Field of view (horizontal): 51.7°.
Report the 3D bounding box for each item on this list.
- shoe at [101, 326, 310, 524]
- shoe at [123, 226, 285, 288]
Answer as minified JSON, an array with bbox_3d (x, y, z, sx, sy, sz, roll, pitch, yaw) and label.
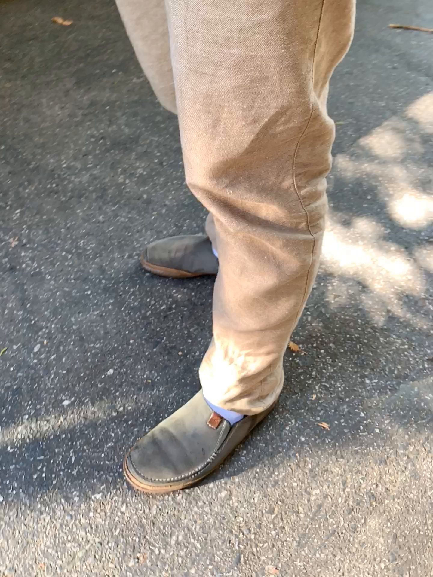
[{"bbox_3d":[-0.009,0.206,0.724,0.320,0.080,0.121,-33,57,-25],"label":"shoe"},{"bbox_3d":[-0.025,-0.067,0.944,0.320,0.060,0.121,1,50,0],"label":"shoe"}]
